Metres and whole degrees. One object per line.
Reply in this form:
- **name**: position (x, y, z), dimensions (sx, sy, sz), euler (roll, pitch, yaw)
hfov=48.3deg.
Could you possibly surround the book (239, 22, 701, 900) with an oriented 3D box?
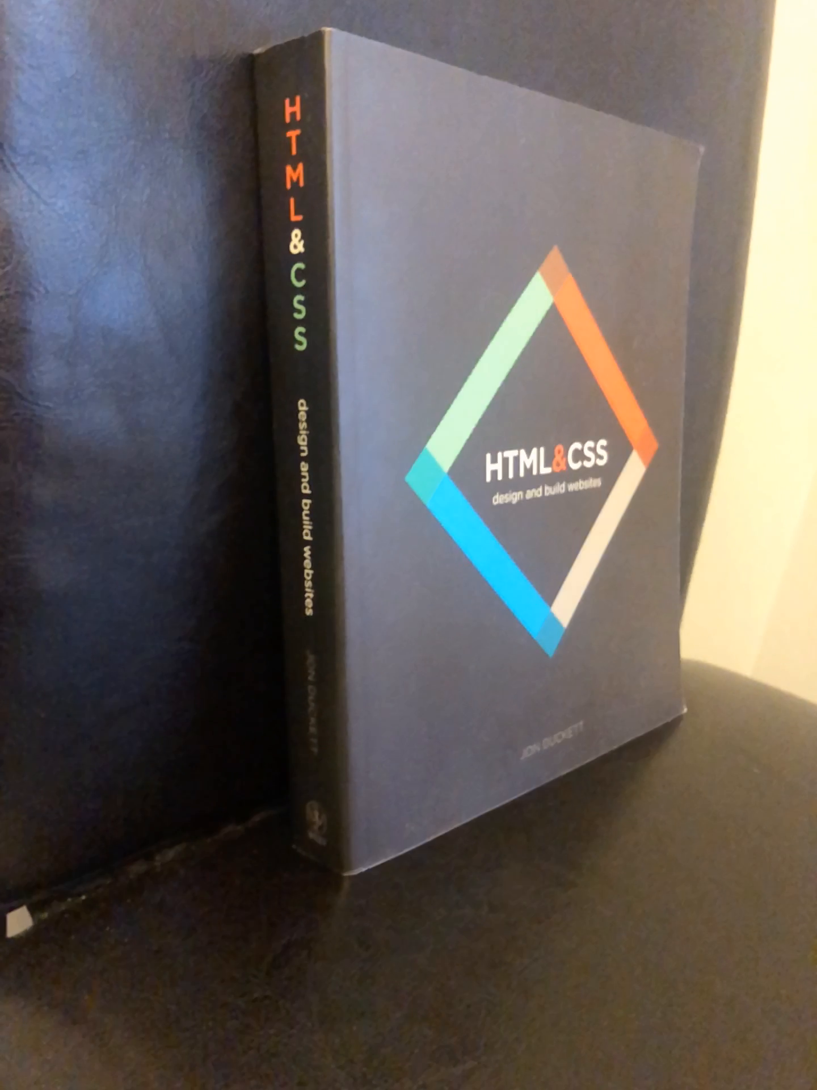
- **book**: position (0.036, -0.028, 0.315), dimensions (0.189, 0.231, 0.030), euler (-11, 14, -43)
